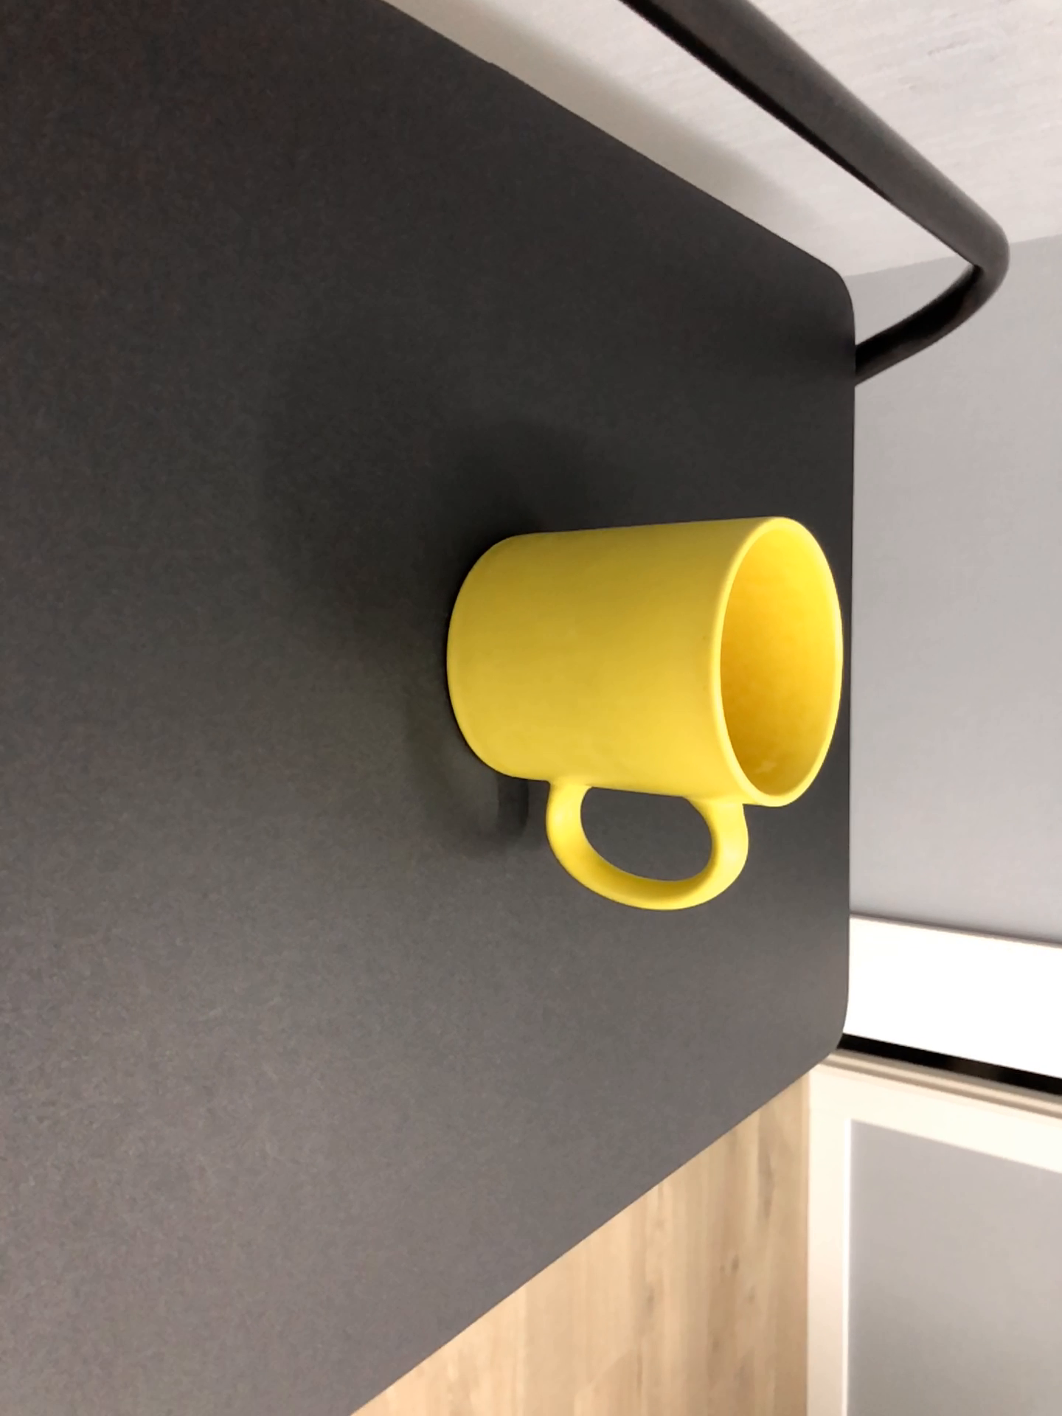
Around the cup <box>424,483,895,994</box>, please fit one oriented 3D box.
[{"bbox_3d":[0.043,0.002,0.359,0.090,0.101,0.125,-21,108,-51],"label":"cup"}]
